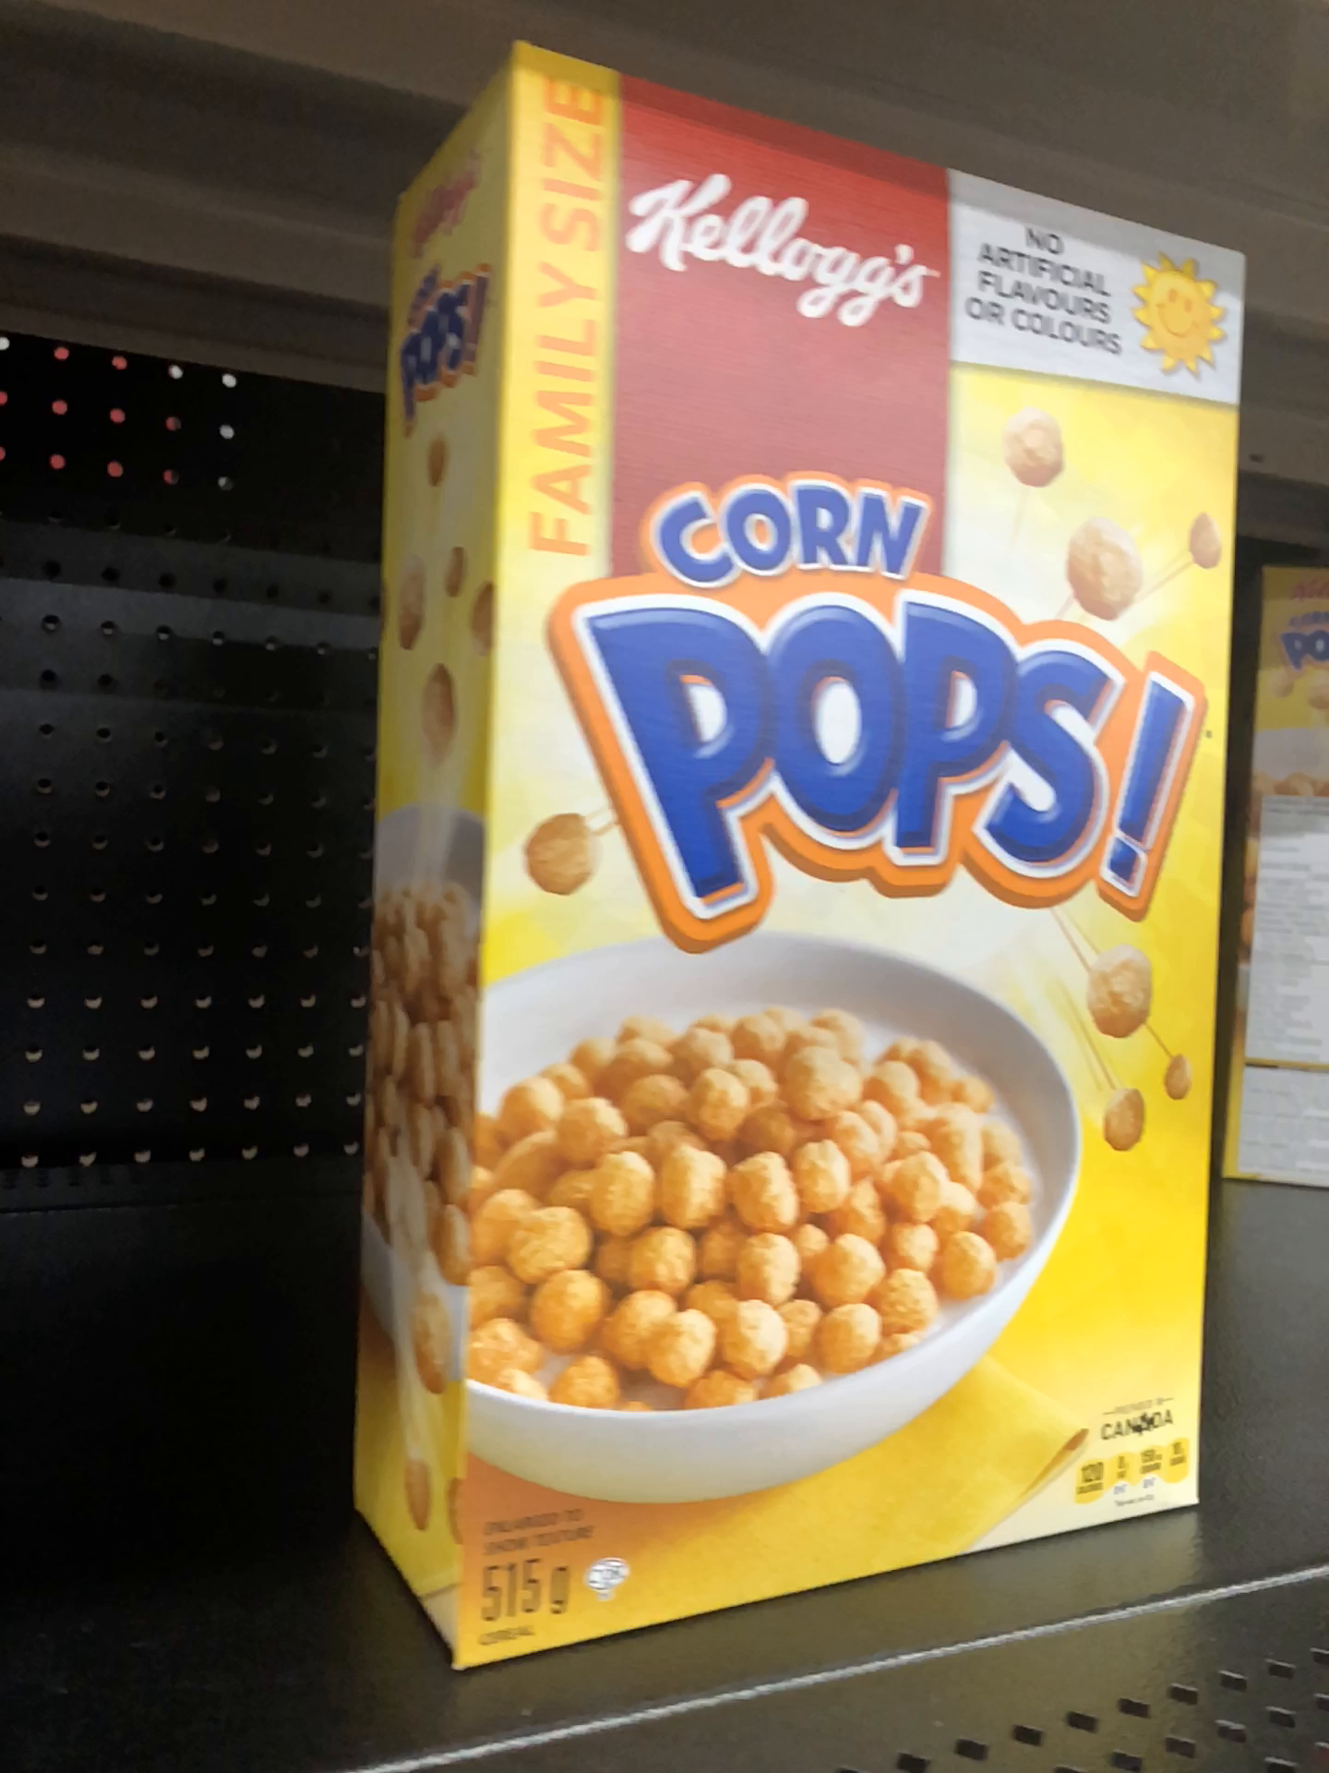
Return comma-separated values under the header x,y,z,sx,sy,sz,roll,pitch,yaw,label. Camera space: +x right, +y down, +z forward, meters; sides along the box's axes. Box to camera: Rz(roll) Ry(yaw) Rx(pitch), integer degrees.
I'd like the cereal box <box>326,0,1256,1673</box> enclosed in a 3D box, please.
x,y,z,sx,sy,sz,roll,pitch,yaw,label
0.034,-0.014,0.358,0.200,0.320,0.090,2,-1,-28,cereal box
